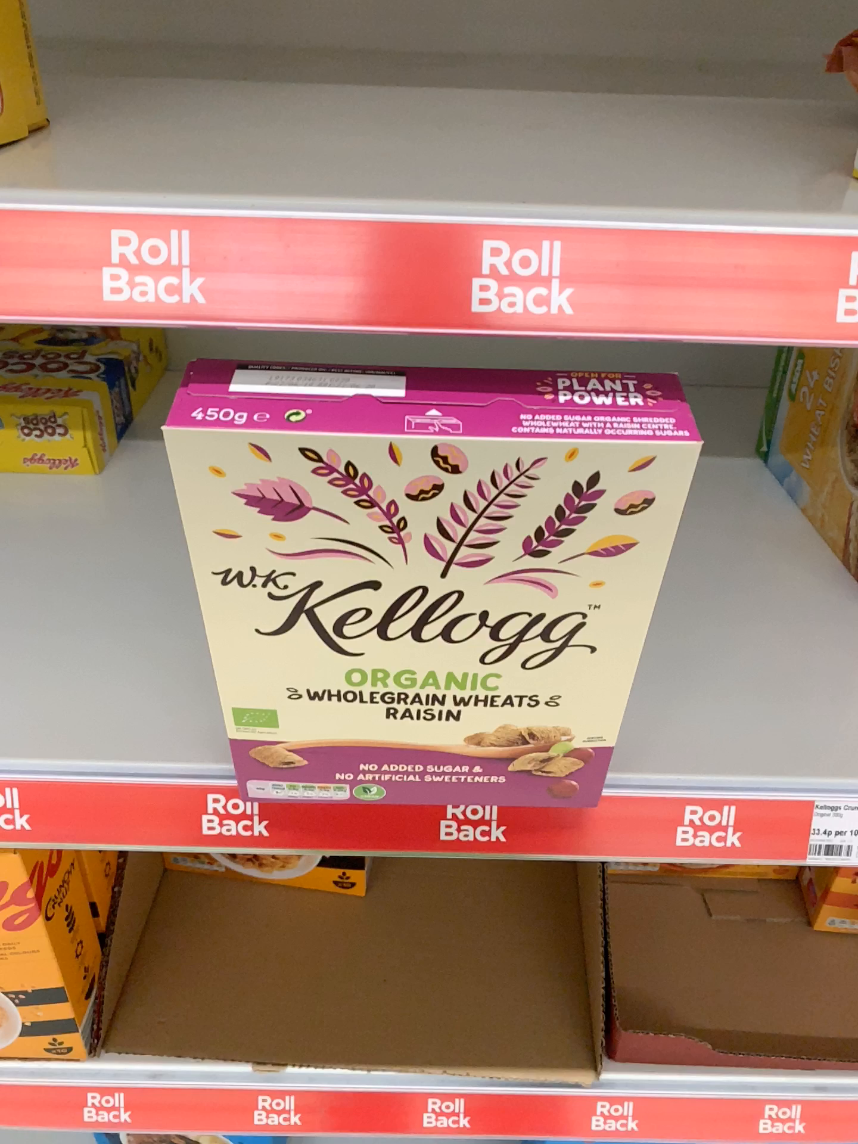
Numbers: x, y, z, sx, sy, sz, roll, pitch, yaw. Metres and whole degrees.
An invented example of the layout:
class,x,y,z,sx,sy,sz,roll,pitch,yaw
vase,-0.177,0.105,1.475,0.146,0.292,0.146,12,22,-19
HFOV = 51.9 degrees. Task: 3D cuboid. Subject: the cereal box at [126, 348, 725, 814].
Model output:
class,x,y,z,sx,sy,sz,roll,pitch,yaw
cereal box,-0.002,0.017,0.389,0.200,0.218,0.061,1,41,0
